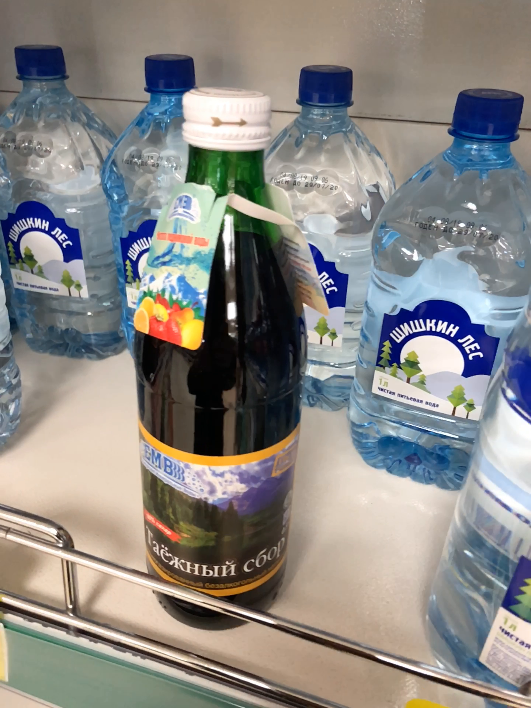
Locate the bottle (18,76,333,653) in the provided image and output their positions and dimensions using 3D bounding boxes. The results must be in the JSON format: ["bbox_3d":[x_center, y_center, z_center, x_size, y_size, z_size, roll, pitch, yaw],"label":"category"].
[{"bbox_3d":[-0.025,0.013,0.239,0.075,0.219,0.068,1,31,0],"label":"bottle"}]
